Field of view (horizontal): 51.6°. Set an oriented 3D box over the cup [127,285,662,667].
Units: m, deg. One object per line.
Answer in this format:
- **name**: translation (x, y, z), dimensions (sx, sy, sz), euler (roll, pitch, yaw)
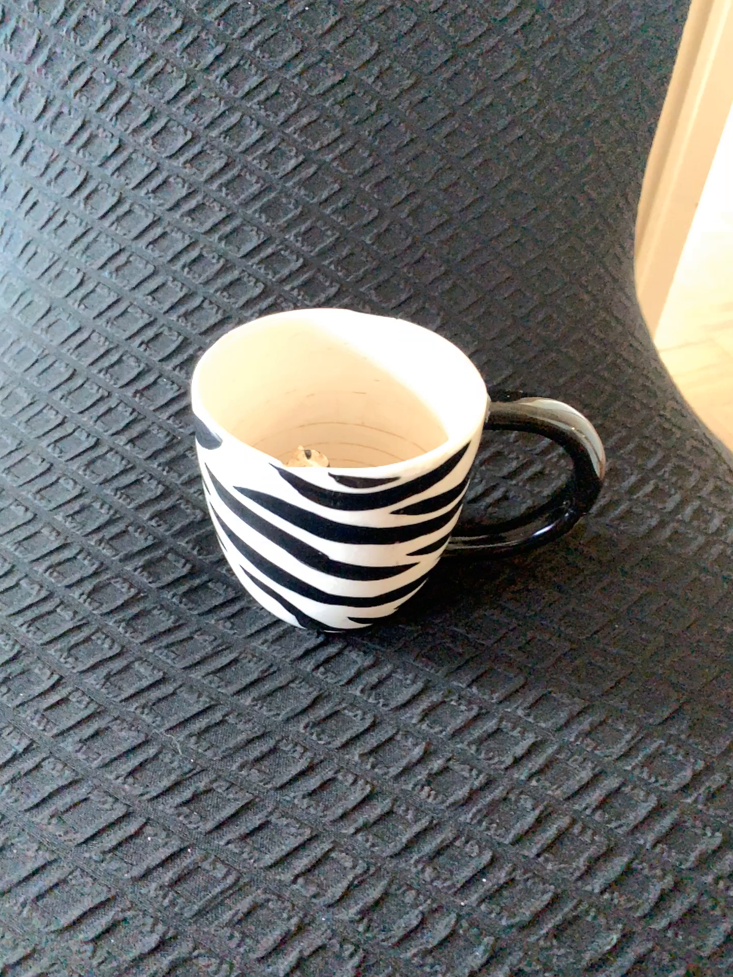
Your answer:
- **cup**: translation (0.009, -0.004, 0.258), dimensions (0.140, 0.090, 0.080), euler (4, 45, 2)
